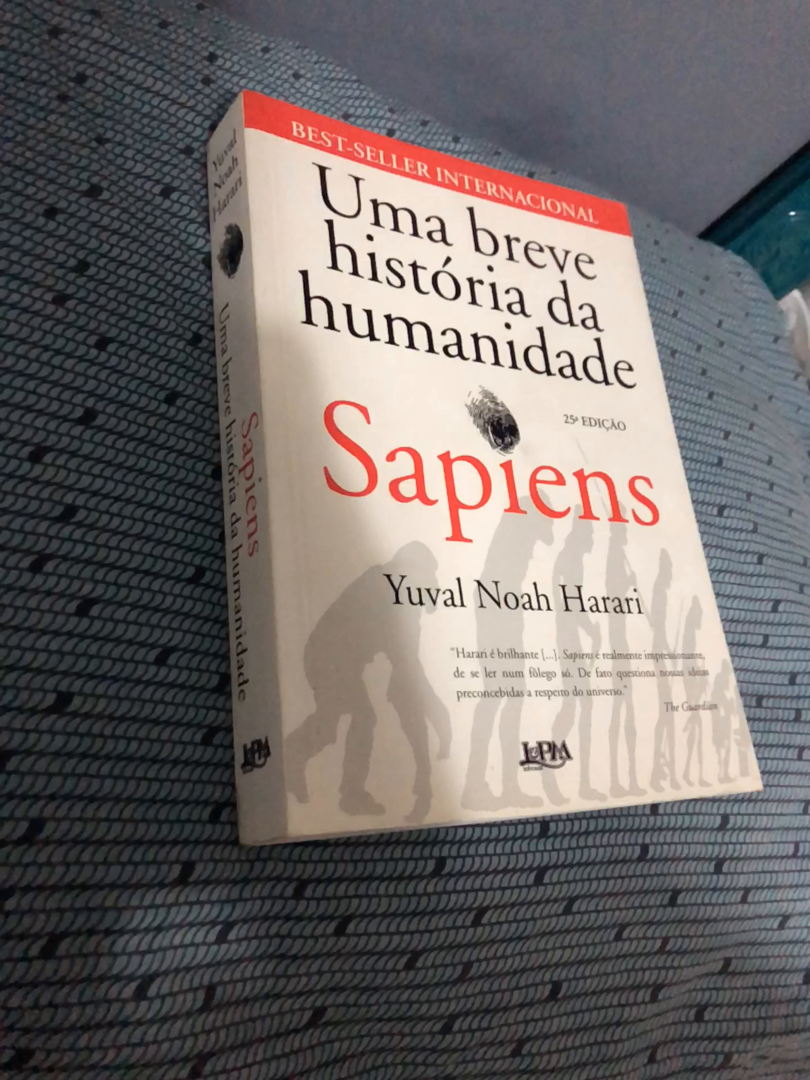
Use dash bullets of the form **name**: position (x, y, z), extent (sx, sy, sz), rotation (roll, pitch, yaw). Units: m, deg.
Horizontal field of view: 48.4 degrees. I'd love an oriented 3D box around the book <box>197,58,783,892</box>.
- **book**: position (0.022, -0.025, 0.293), extent (0.161, 0.040, 0.240), rotation (5, 67, -30)
